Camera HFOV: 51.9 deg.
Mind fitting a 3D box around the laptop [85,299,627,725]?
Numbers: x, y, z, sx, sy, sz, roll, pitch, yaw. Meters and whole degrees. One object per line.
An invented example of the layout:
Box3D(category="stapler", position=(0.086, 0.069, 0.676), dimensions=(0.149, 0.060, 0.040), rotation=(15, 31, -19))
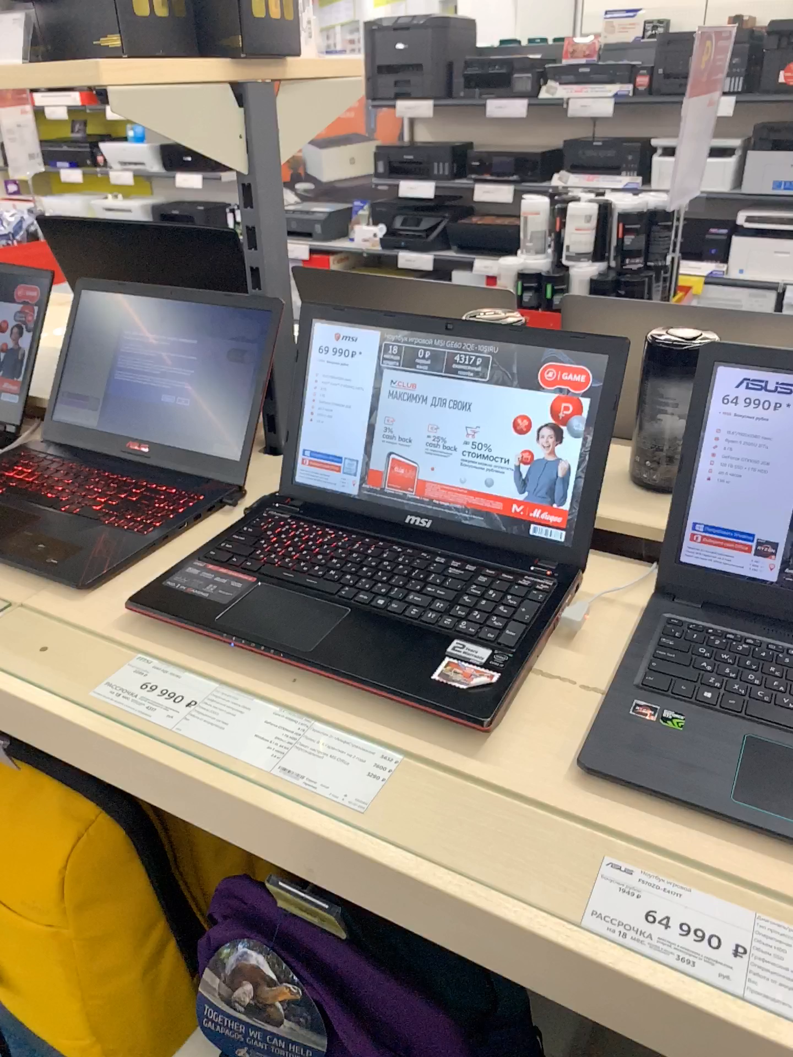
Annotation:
Box3D(category="laptop", position=(-0.018, -0.054, 0.743), dimensions=(0.356, 0.197, 0.313), rotation=(14, 33, 25))
